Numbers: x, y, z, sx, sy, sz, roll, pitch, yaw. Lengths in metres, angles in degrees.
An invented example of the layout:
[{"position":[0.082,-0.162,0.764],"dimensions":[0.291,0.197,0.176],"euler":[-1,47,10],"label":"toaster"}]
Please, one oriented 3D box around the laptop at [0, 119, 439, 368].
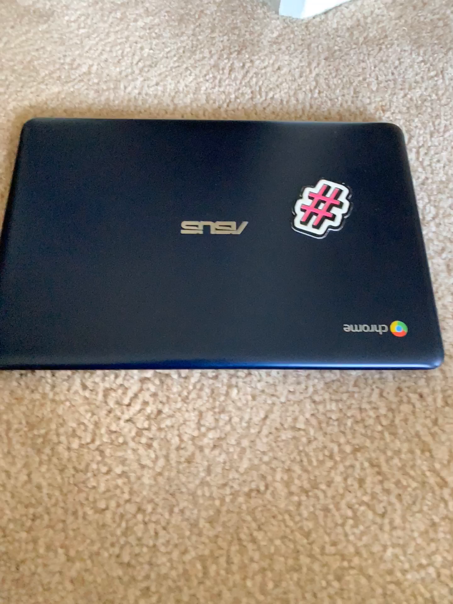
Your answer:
[{"position":[-0.008,-0.046,0.313],"dimensions":[0.271,0.006,0.182],"euler":[0,69,-2],"label":"laptop"}]
